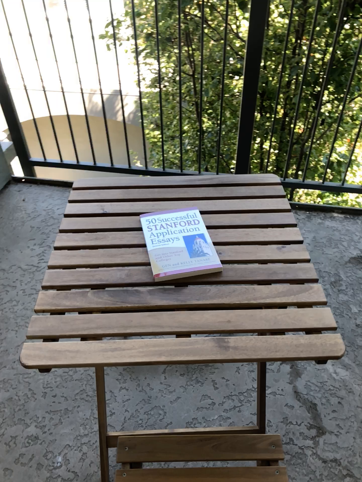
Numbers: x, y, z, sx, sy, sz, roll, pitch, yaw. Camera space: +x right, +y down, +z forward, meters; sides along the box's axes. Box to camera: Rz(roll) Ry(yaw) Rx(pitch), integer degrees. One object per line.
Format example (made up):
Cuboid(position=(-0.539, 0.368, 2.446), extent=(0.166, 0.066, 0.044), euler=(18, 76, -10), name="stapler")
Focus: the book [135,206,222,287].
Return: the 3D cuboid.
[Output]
Cuboid(position=(-0.014, 0.004, 0.926), extent=(0.156, 0.020, 0.224), euler=(-9, 43, -9), name="book")
